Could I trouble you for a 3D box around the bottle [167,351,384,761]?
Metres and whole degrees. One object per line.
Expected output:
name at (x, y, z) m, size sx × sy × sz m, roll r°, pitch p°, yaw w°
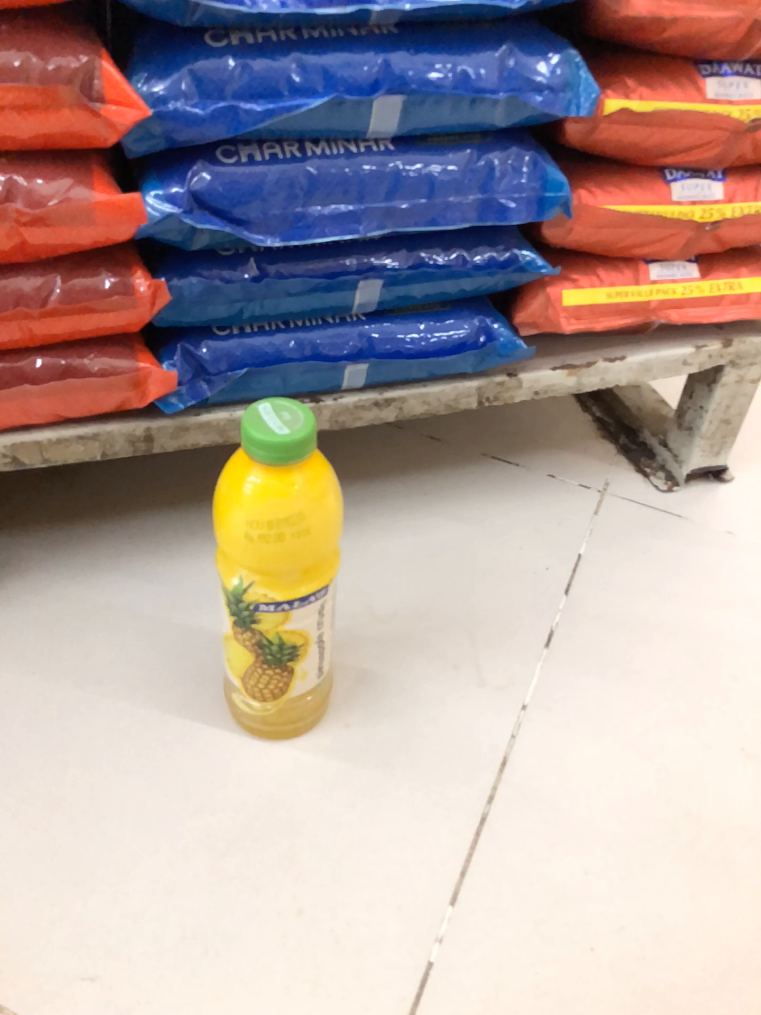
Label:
bottle at (-0.065, 0.040, 0.518) m, size 0.090 × 0.248 × 0.090 m, roll 3°, pitch 43°, yaw -3°
